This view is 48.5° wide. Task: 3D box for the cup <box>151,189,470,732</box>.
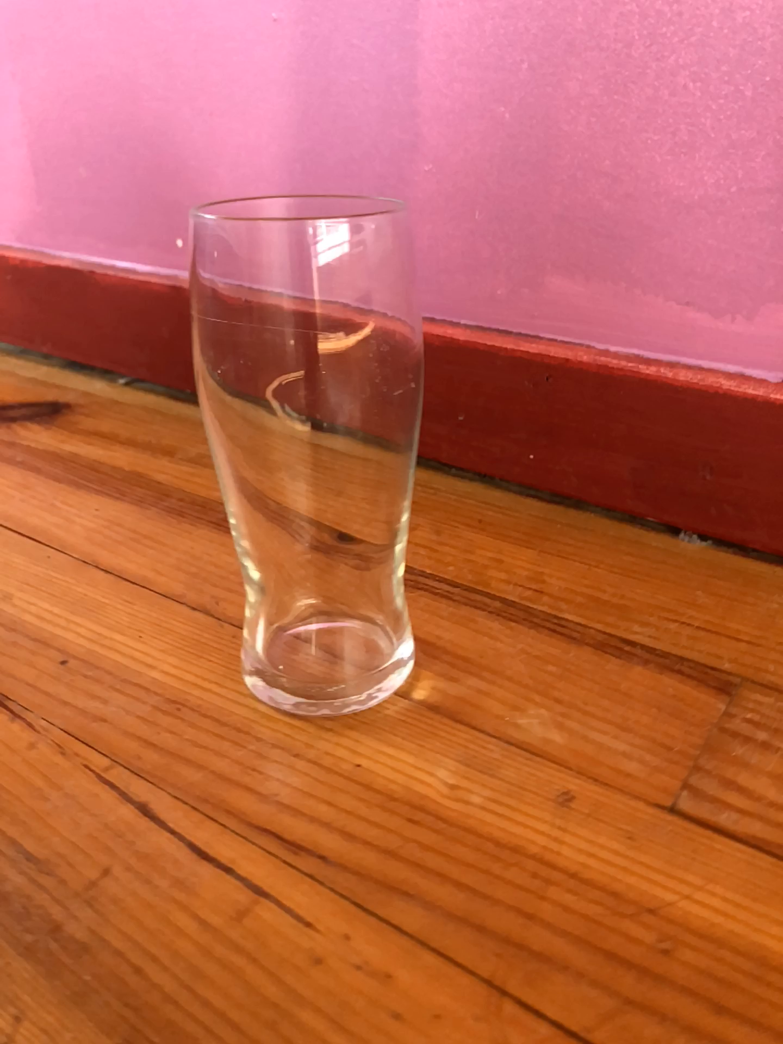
[{"bbox_3d":[-0.018,-0.020,0.261,0.063,0.143,0.061,-1,25,0],"label":"cup"}]
